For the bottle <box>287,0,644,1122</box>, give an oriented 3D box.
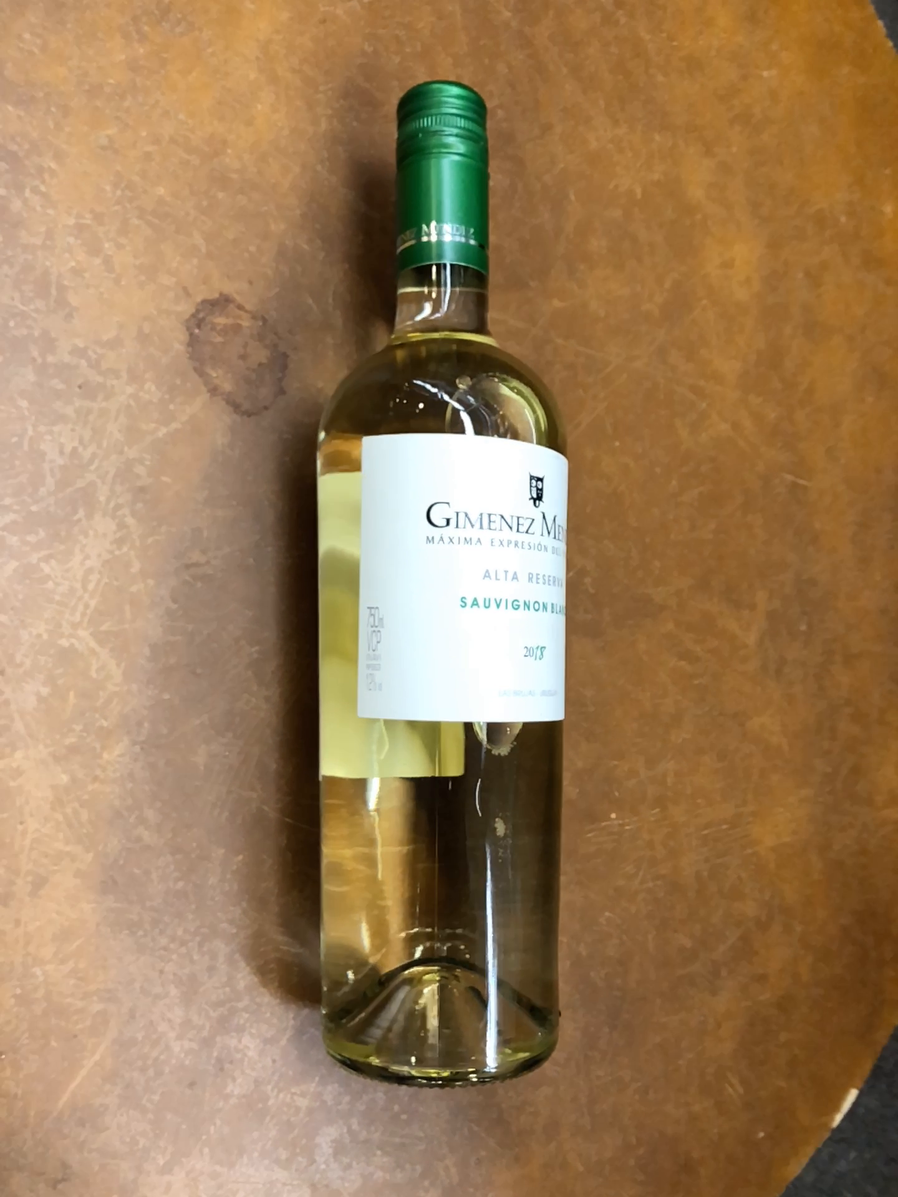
[{"bbox_3d":[0.004,-0.018,0.301,0.090,0.050,0.300,2,84,-28],"label":"bottle"}]
